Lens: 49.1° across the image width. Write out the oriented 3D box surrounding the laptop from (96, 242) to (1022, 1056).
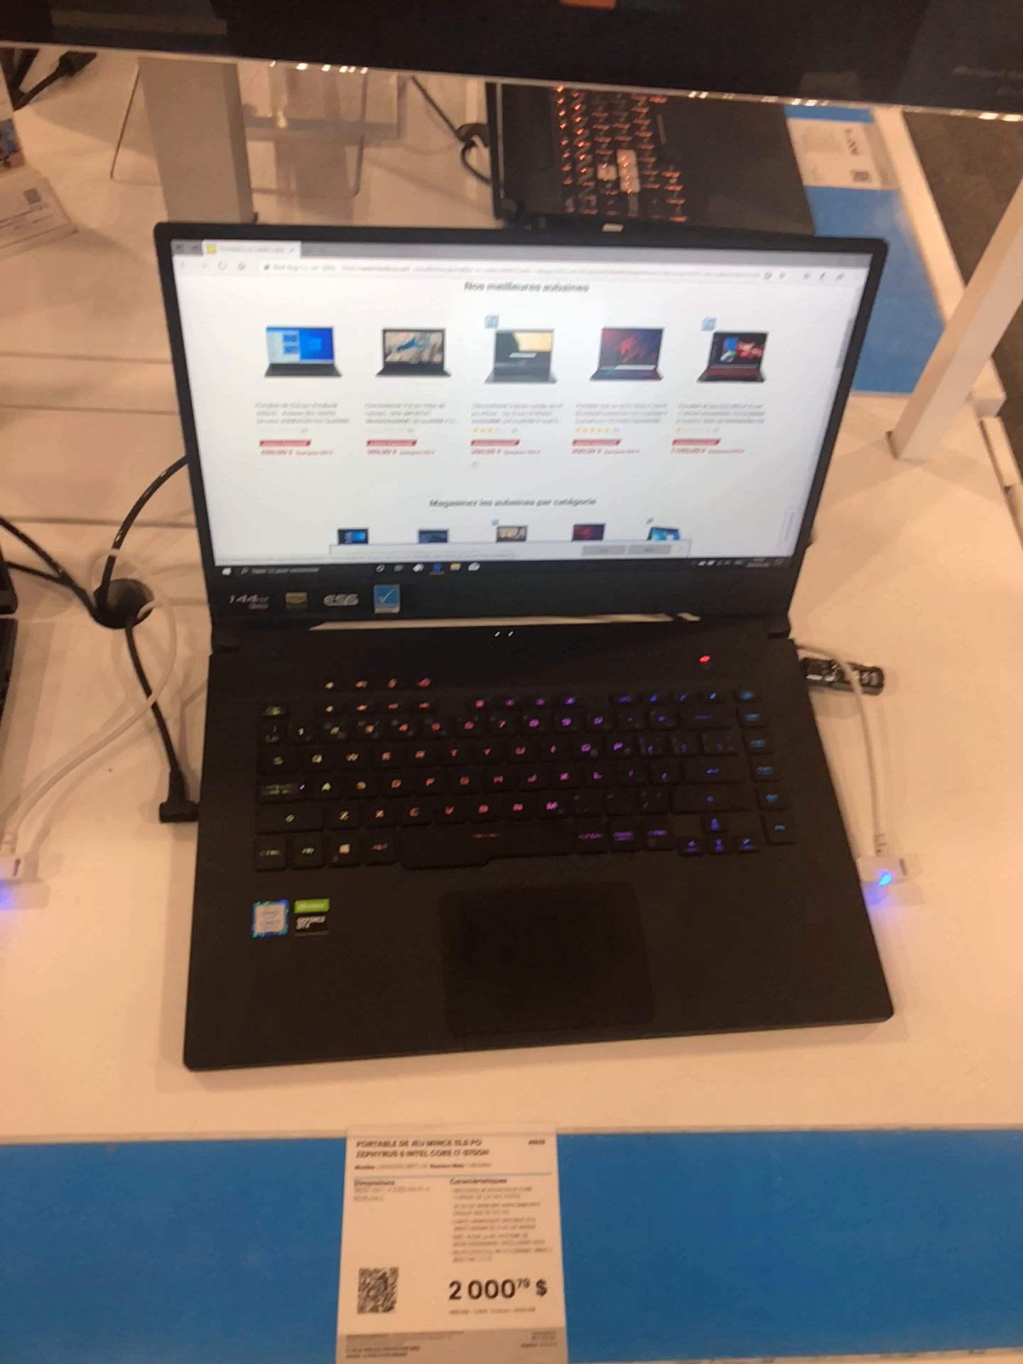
[{"bbox_3d":[0.020,-0.018,0.536,0.340,0.207,0.315,-1,57,-6],"label":"laptop"}]
